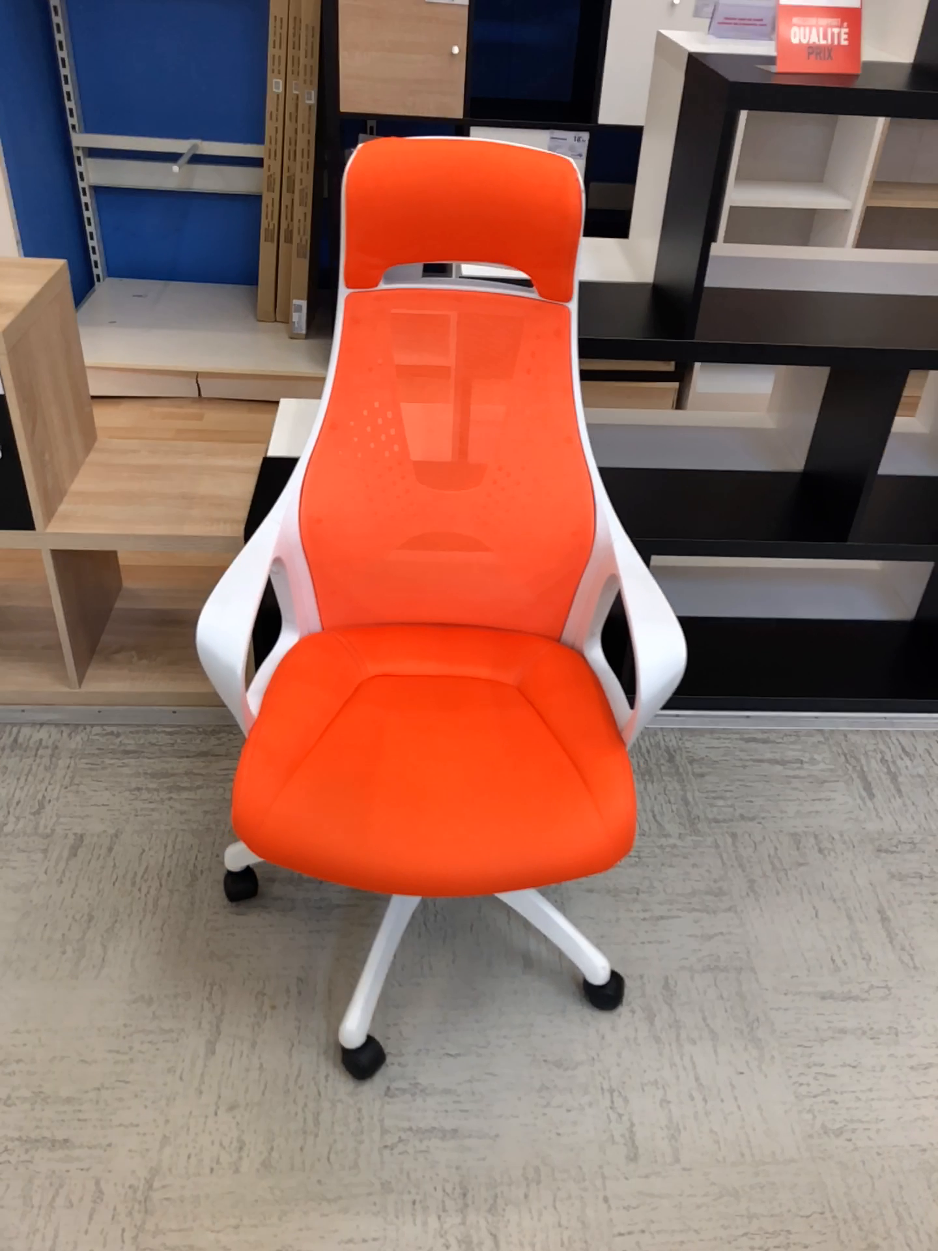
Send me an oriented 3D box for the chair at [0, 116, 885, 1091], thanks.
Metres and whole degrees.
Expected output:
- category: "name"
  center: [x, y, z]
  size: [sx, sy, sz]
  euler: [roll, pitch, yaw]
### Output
- category: "chair"
  center: [-0.039, -0.029, 1.393]
  size: [0.680, 1.053, 0.755]
  euler: [3, 35, -1]
